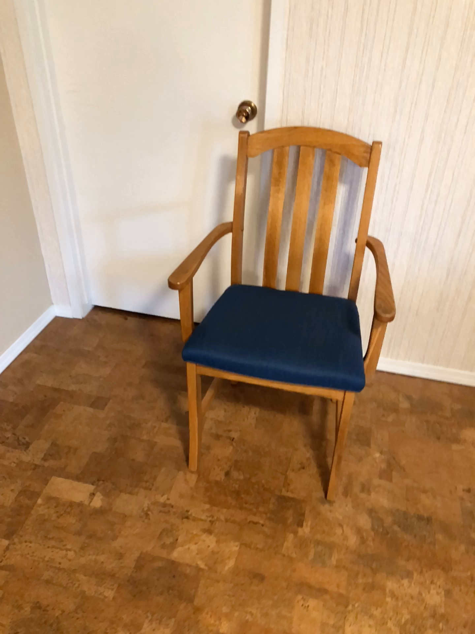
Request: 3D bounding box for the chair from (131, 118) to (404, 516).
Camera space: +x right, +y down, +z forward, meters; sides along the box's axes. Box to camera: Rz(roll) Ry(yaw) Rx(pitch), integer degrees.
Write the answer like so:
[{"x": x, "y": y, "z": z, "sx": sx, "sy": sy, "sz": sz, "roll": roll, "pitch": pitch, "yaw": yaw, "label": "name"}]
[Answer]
[{"x": 0.097, "y": -0.007, "z": 1.542, "sx": 0.550, "sy": 0.937, "sz": 0.592, "roll": 8, "pitch": 35, "yaw": 9, "label": "chair"}]
